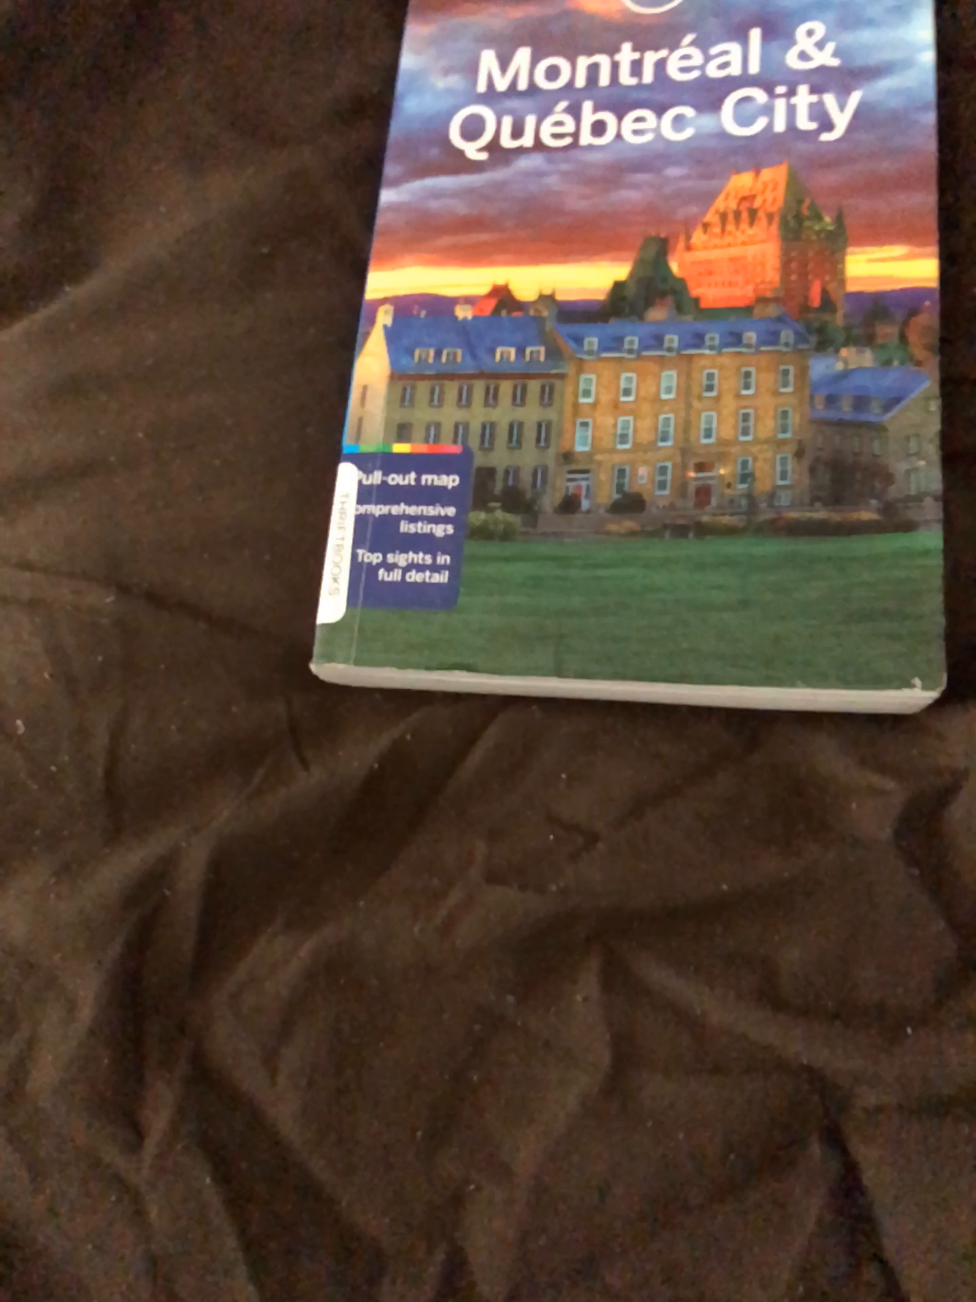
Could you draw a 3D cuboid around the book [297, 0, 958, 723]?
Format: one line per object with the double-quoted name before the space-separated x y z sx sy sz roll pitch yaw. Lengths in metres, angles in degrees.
"book" 0.037 -0.089 0.265 0.137 0.024 0.205 2 75 15
